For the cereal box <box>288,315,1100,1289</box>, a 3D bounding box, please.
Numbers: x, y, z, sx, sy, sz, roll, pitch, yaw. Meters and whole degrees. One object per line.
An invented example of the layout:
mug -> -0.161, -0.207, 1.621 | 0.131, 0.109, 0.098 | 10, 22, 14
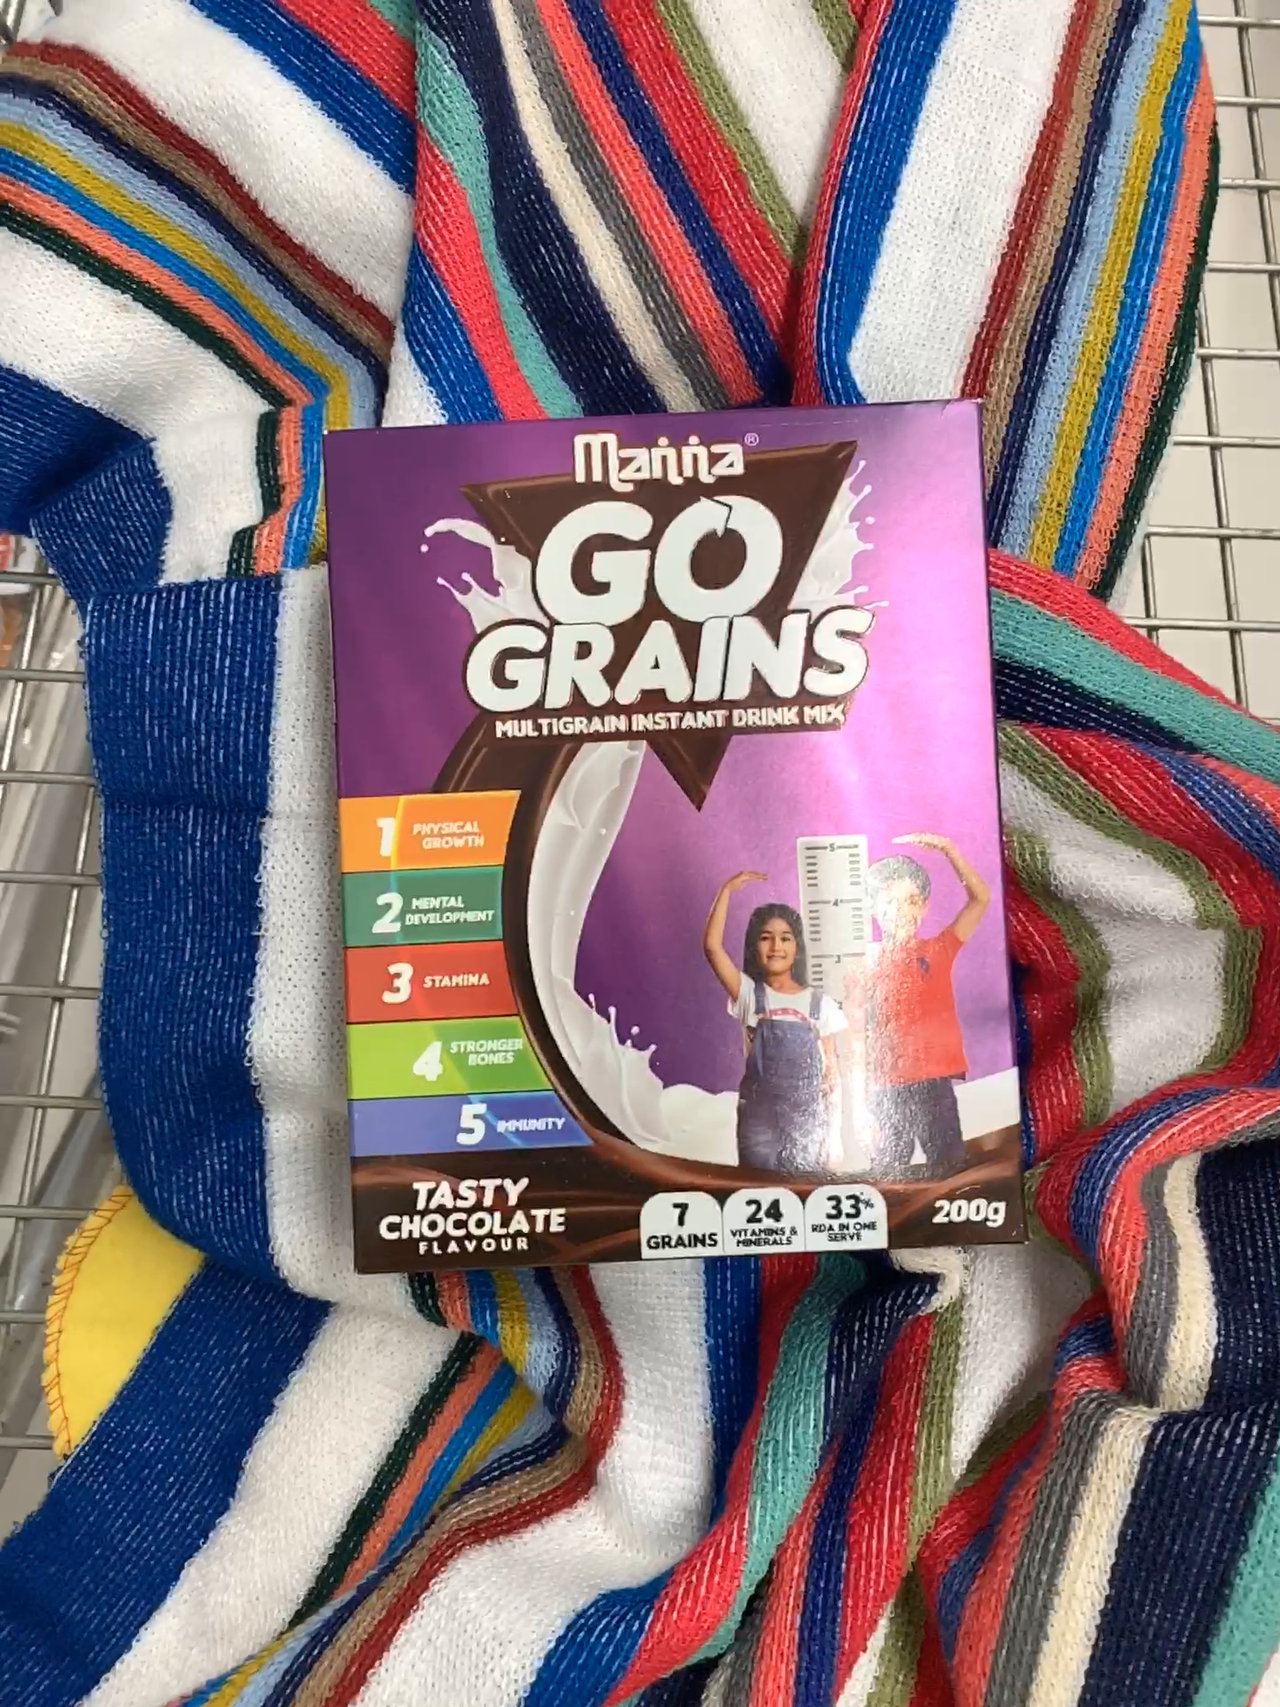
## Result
cereal box -> 0.010, -0.010, 0.262 | 0.140, 0.050, 0.170 | -2, 90, -1
